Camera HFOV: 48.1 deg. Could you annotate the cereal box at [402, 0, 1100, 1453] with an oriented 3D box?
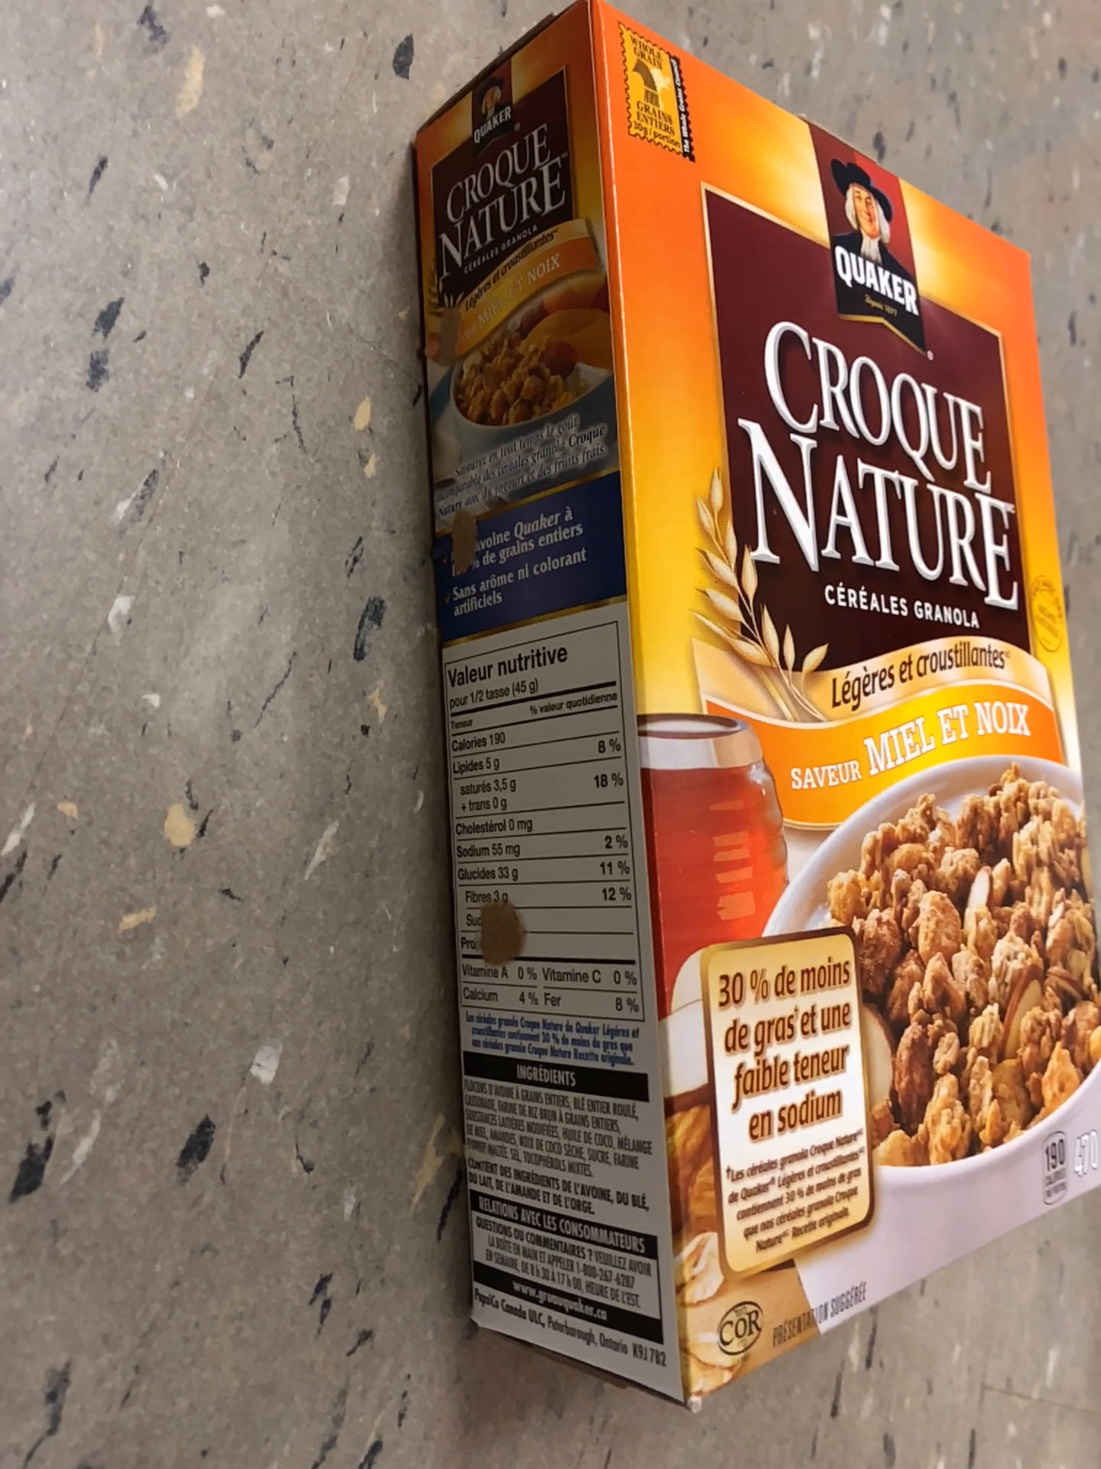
[{"bbox_3d":[0.053,-0.005,0.272,0.161,0.050,0.240,1,84,-43],"label":"cereal box"}]
